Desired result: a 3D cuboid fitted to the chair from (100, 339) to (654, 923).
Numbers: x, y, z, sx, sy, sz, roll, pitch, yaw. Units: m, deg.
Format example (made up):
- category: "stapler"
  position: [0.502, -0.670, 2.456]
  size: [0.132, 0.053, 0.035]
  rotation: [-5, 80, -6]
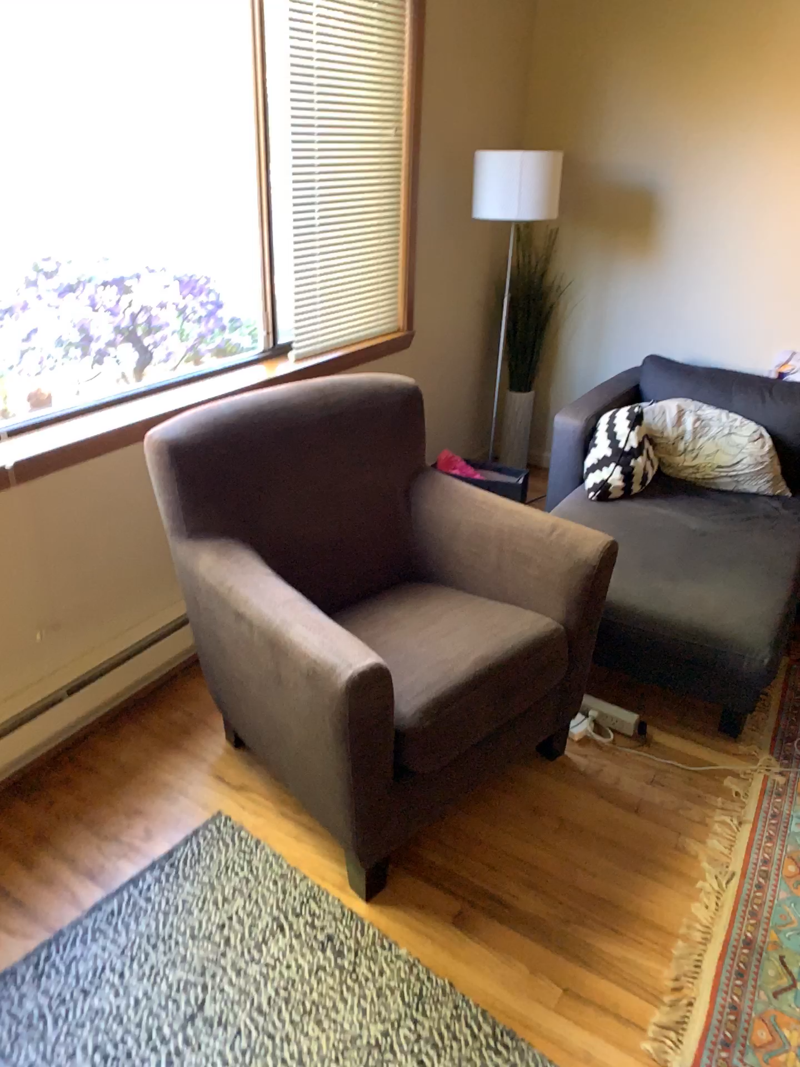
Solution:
- category: "chair"
  position: [-0.042, 0.097, 1.920]
  size: [0.881, 0.875, 0.803]
  rotation: [-22, 32, -40]
